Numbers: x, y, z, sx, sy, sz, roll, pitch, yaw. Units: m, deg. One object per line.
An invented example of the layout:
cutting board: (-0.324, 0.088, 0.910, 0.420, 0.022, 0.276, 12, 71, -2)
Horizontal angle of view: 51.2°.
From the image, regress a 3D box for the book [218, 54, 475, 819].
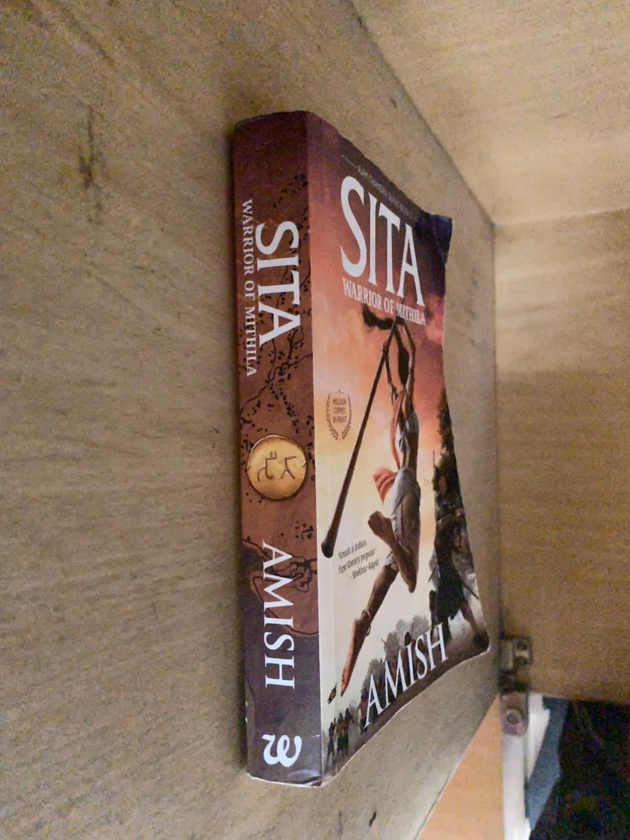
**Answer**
book: (0.022, 0.004, 0.241, 0.141, 0.030, 0.200, -1, 89, -62)
